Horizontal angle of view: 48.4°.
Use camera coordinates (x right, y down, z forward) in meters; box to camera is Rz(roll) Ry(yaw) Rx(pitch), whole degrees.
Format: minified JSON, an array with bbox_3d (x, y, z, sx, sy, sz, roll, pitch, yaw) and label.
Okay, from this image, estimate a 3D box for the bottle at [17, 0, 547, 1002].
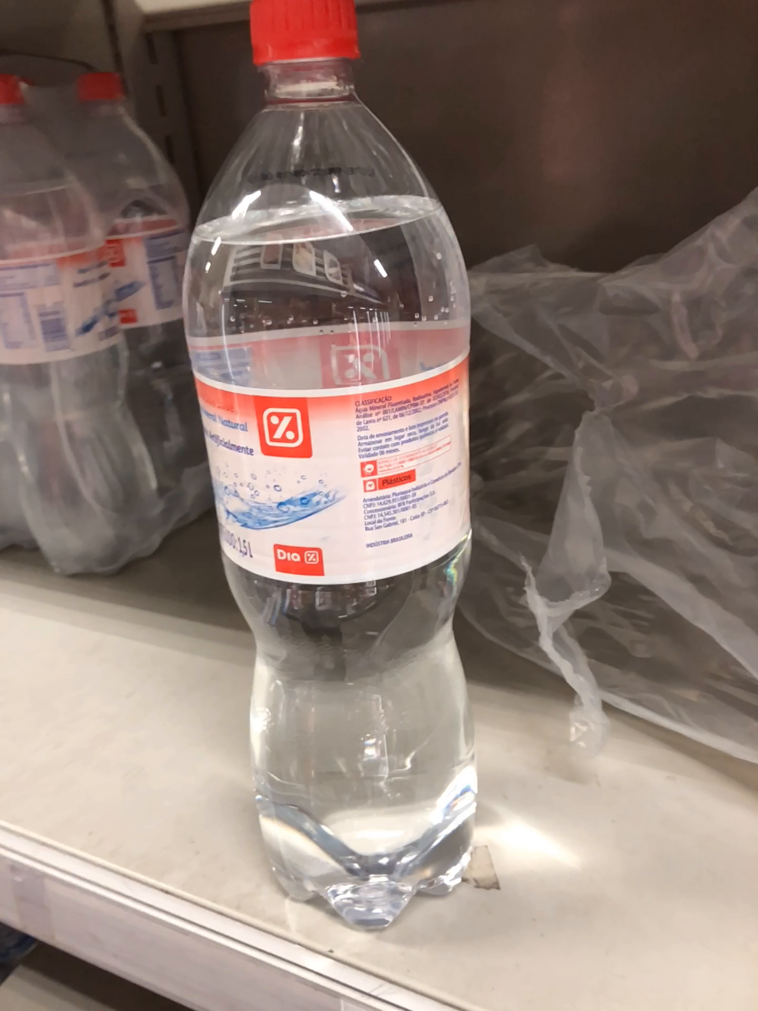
[{"bbox_3d":[-0.015,0.001,0.290,0.100,0.318,0.100,-5,26,2],"label":"bottle"}]
